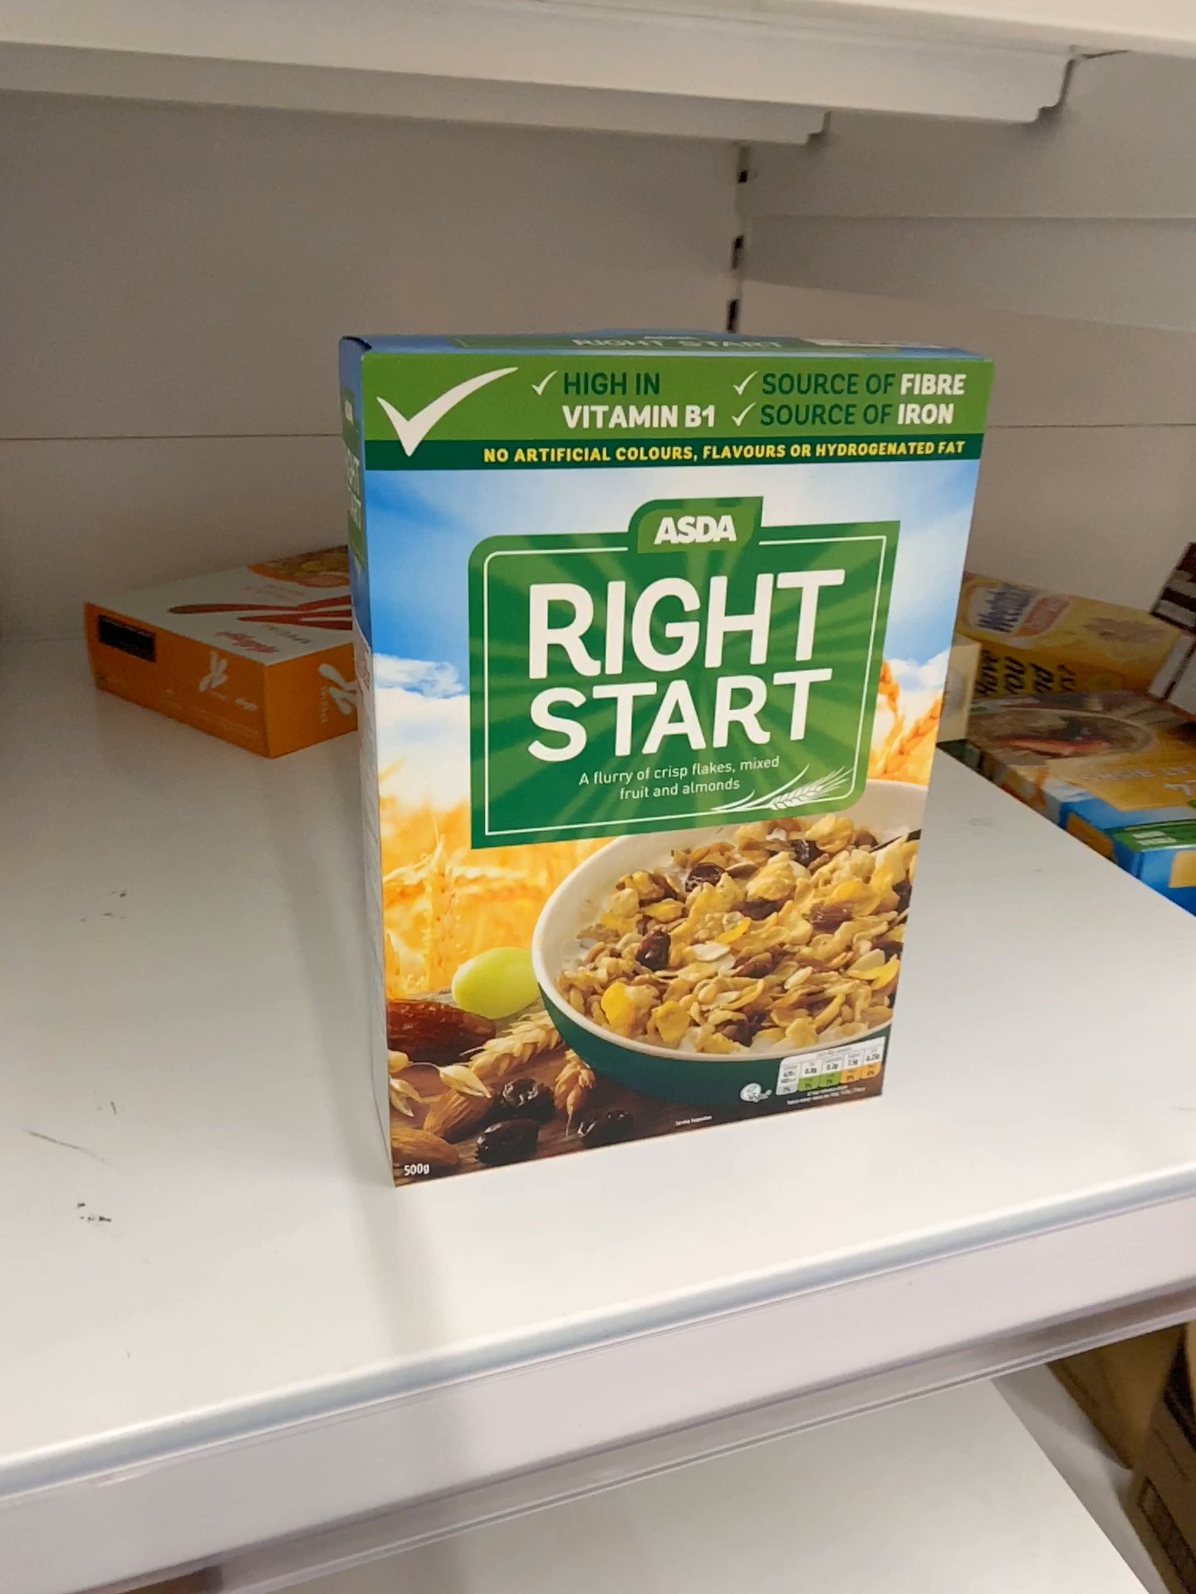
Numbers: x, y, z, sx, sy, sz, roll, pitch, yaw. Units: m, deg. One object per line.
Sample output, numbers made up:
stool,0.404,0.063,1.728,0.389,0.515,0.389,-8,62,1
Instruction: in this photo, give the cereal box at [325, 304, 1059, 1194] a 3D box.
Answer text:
cereal box,0.021,-0.015,0.409,0.200,0.268,0.071,-6,26,-18
